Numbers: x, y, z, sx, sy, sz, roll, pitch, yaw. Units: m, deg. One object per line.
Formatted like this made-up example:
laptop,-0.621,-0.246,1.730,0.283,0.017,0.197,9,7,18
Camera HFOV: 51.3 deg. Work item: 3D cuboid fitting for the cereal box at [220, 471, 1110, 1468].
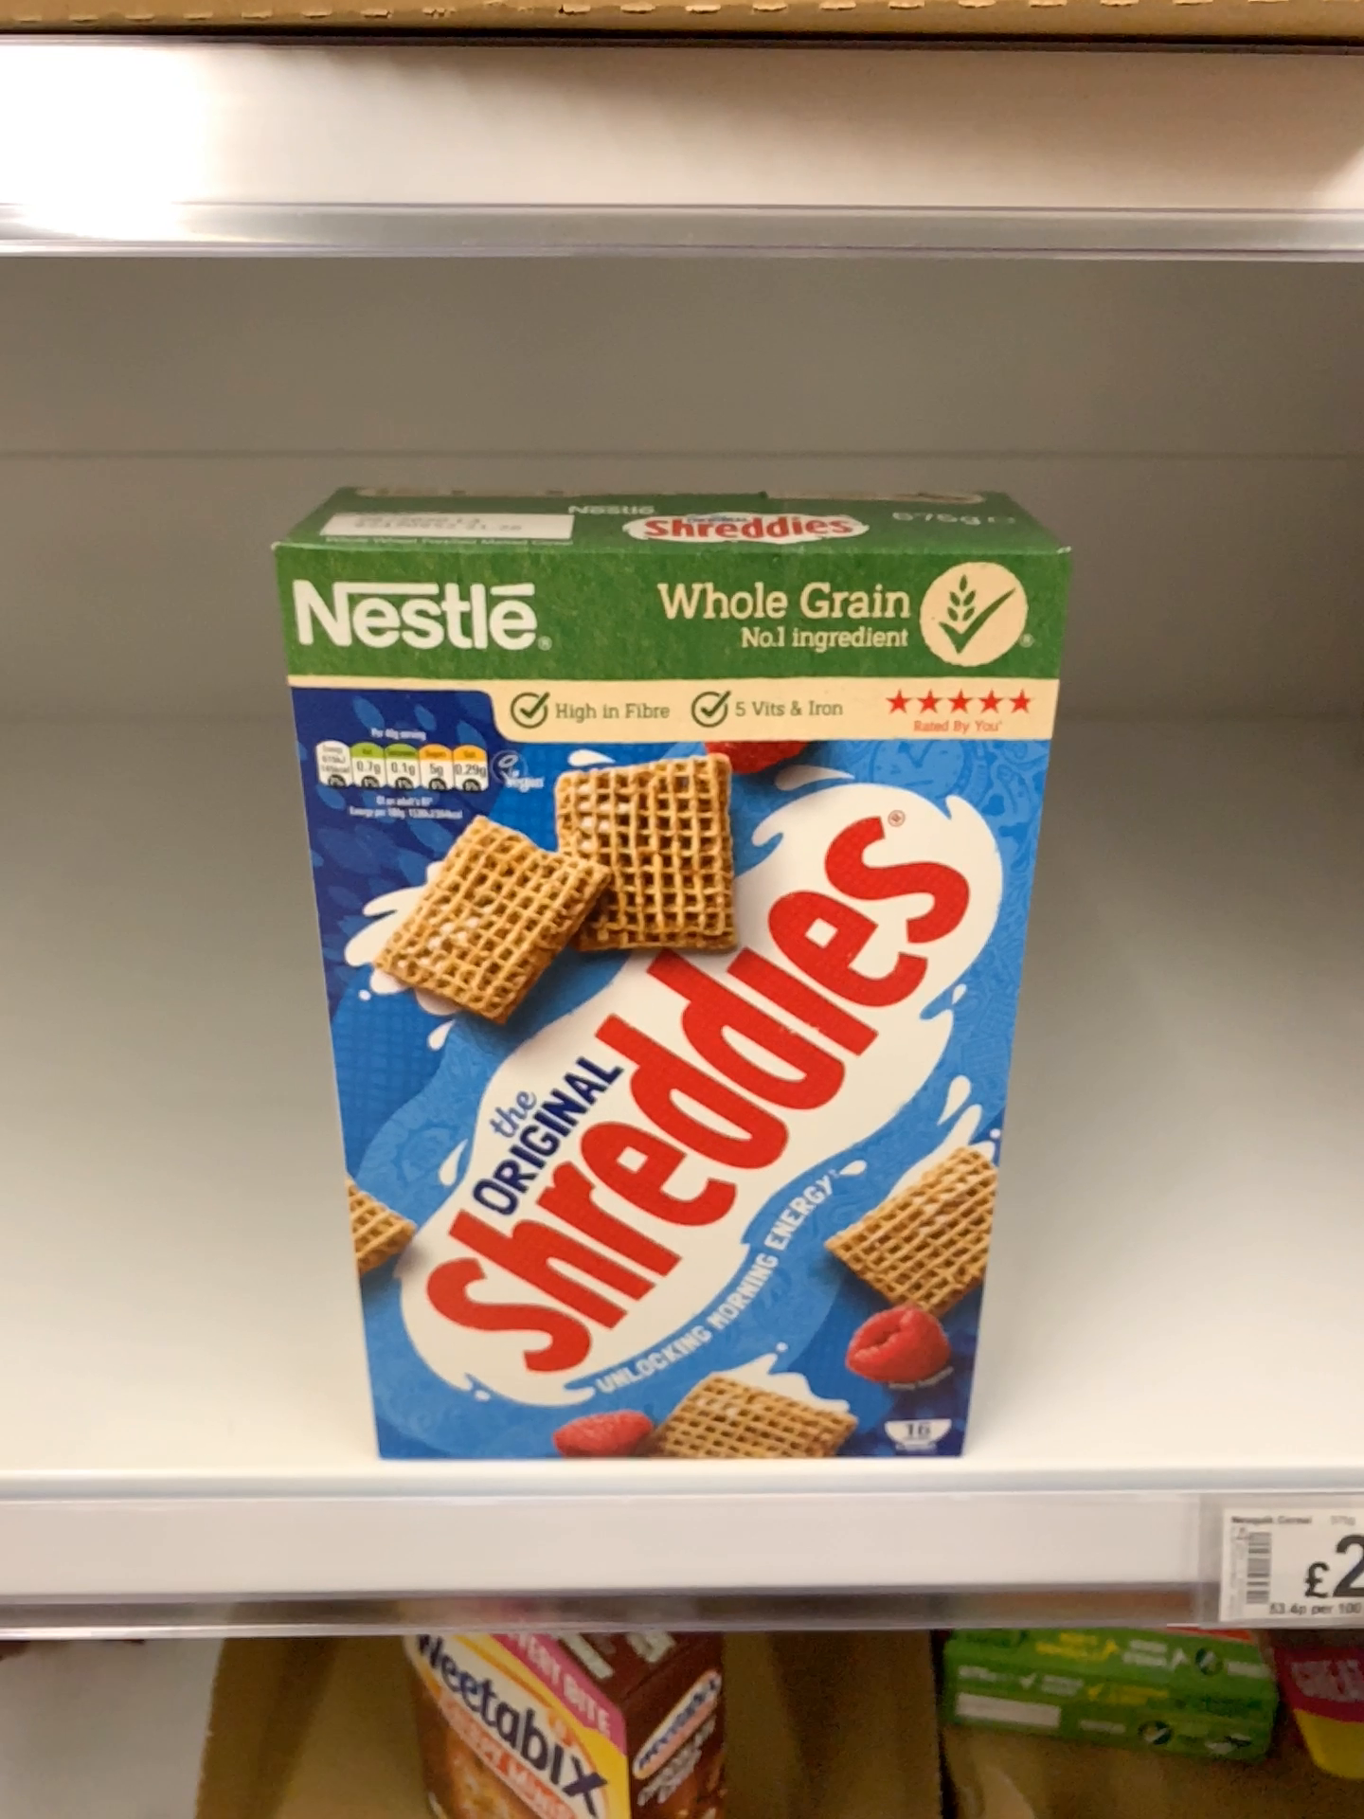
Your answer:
cereal box,-0.004,0.027,0.418,0.200,0.288,0.081,0,26,0
